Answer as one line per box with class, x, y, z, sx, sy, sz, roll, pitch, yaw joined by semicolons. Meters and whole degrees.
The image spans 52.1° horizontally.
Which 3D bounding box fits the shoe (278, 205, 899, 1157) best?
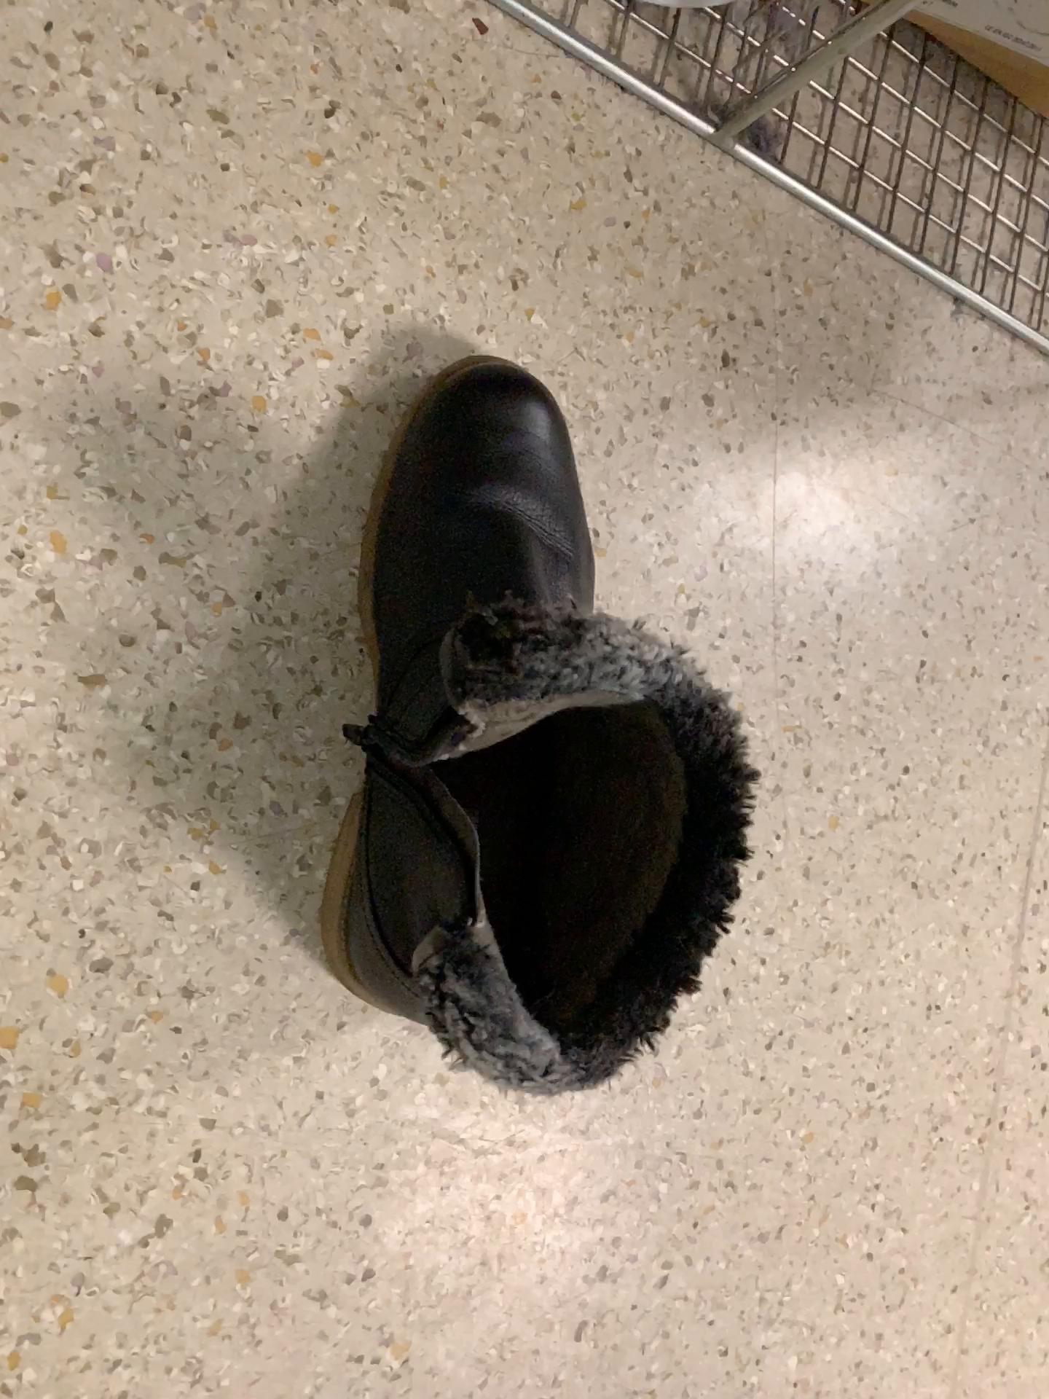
shoe;0.011;0.000;0.361;0.104;0.169;0.237;11;84;-28
